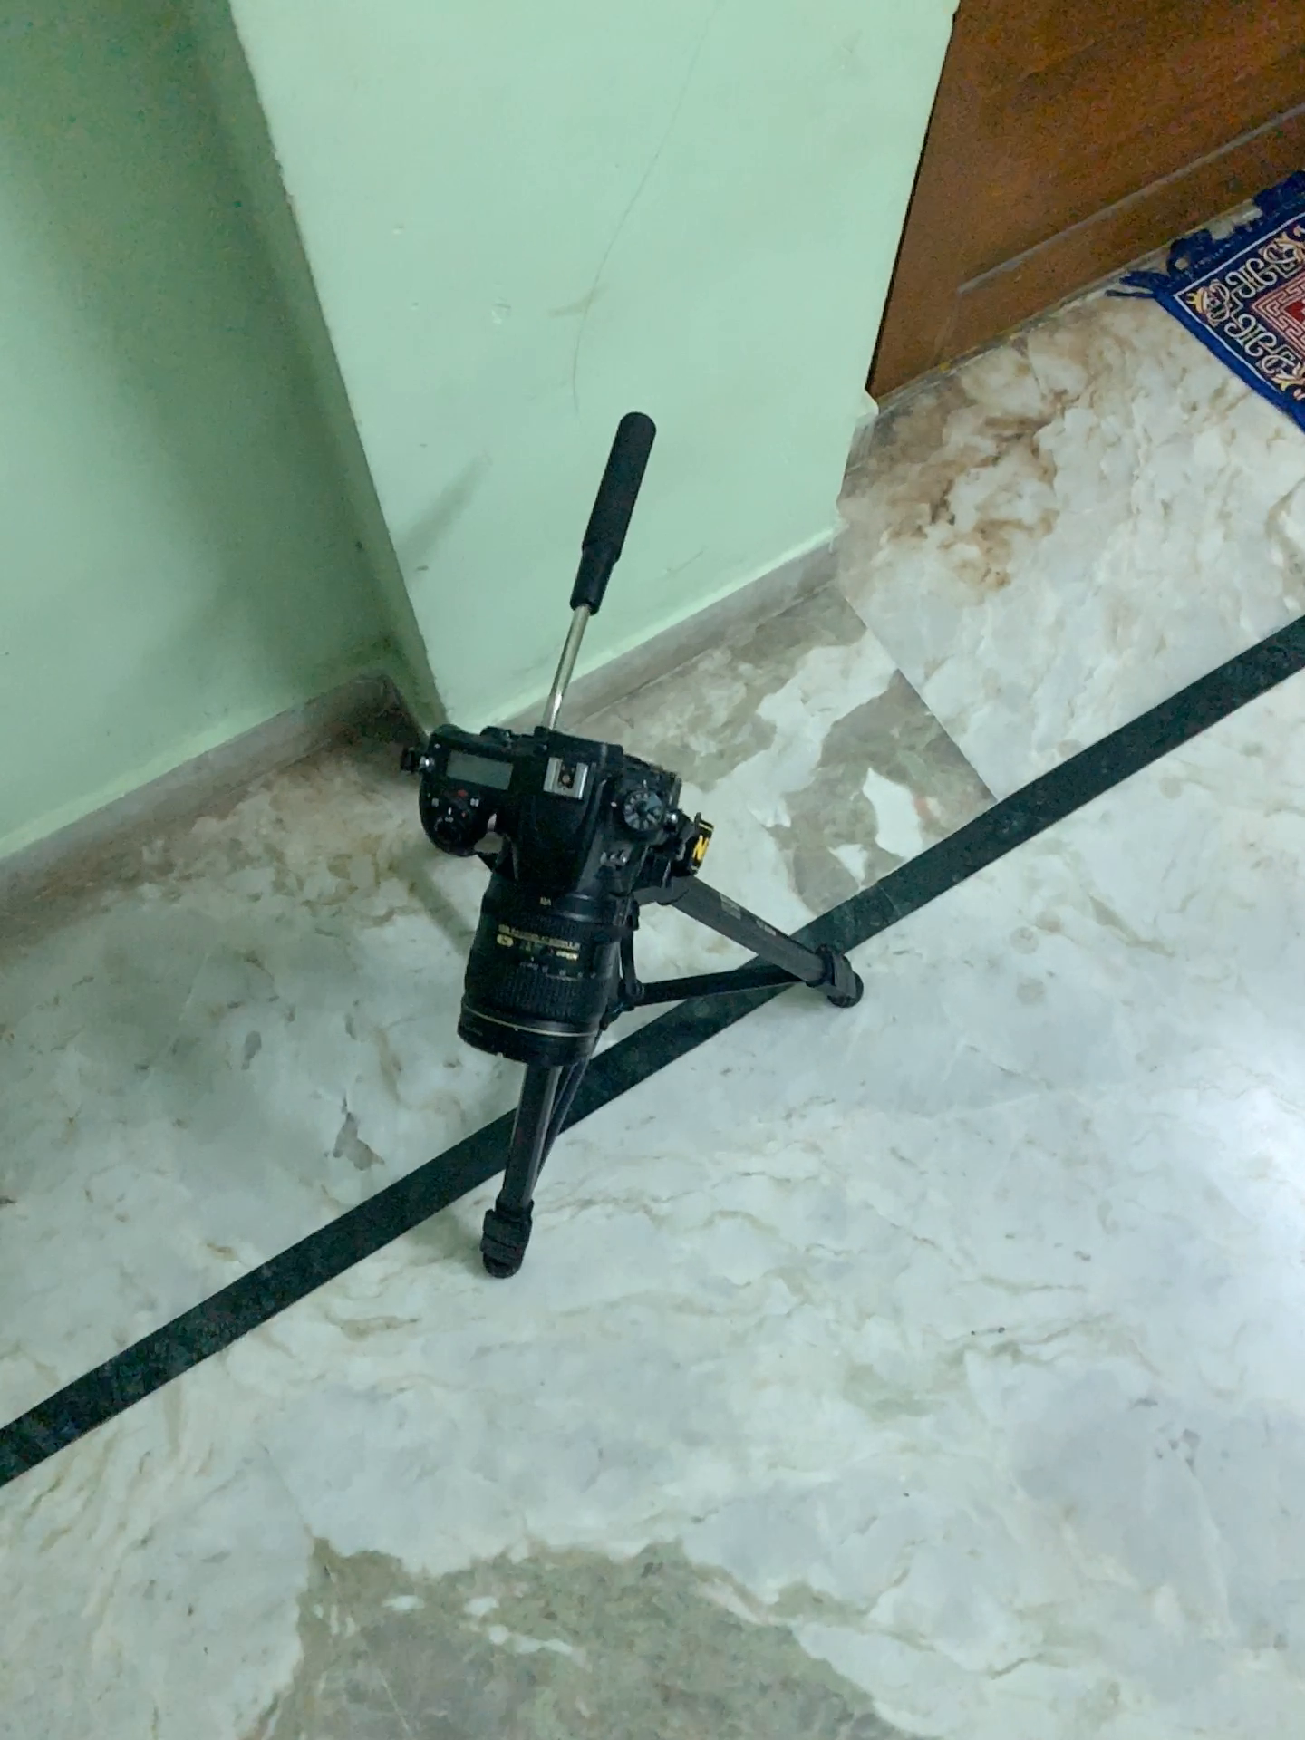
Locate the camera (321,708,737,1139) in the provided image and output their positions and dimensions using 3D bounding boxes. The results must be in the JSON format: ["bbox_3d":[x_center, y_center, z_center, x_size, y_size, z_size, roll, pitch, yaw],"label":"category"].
[{"bbox_3d":[-0.061,0.023,0.719,0.170,0.110,0.180,14,95,5],"label":"camera"}]
